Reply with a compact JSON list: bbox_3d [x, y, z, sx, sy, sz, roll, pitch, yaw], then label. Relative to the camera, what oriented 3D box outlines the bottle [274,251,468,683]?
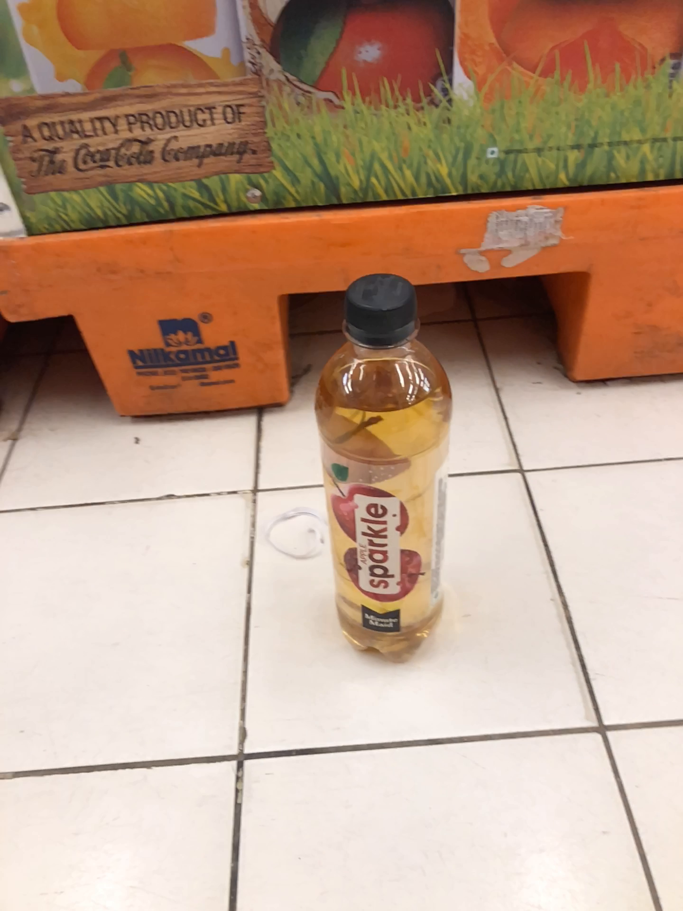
[{"bbox_3d":[0.023,0.020,0.397,0.070,0.239,0.070,-3,43,3],"label":"bottle"}]
